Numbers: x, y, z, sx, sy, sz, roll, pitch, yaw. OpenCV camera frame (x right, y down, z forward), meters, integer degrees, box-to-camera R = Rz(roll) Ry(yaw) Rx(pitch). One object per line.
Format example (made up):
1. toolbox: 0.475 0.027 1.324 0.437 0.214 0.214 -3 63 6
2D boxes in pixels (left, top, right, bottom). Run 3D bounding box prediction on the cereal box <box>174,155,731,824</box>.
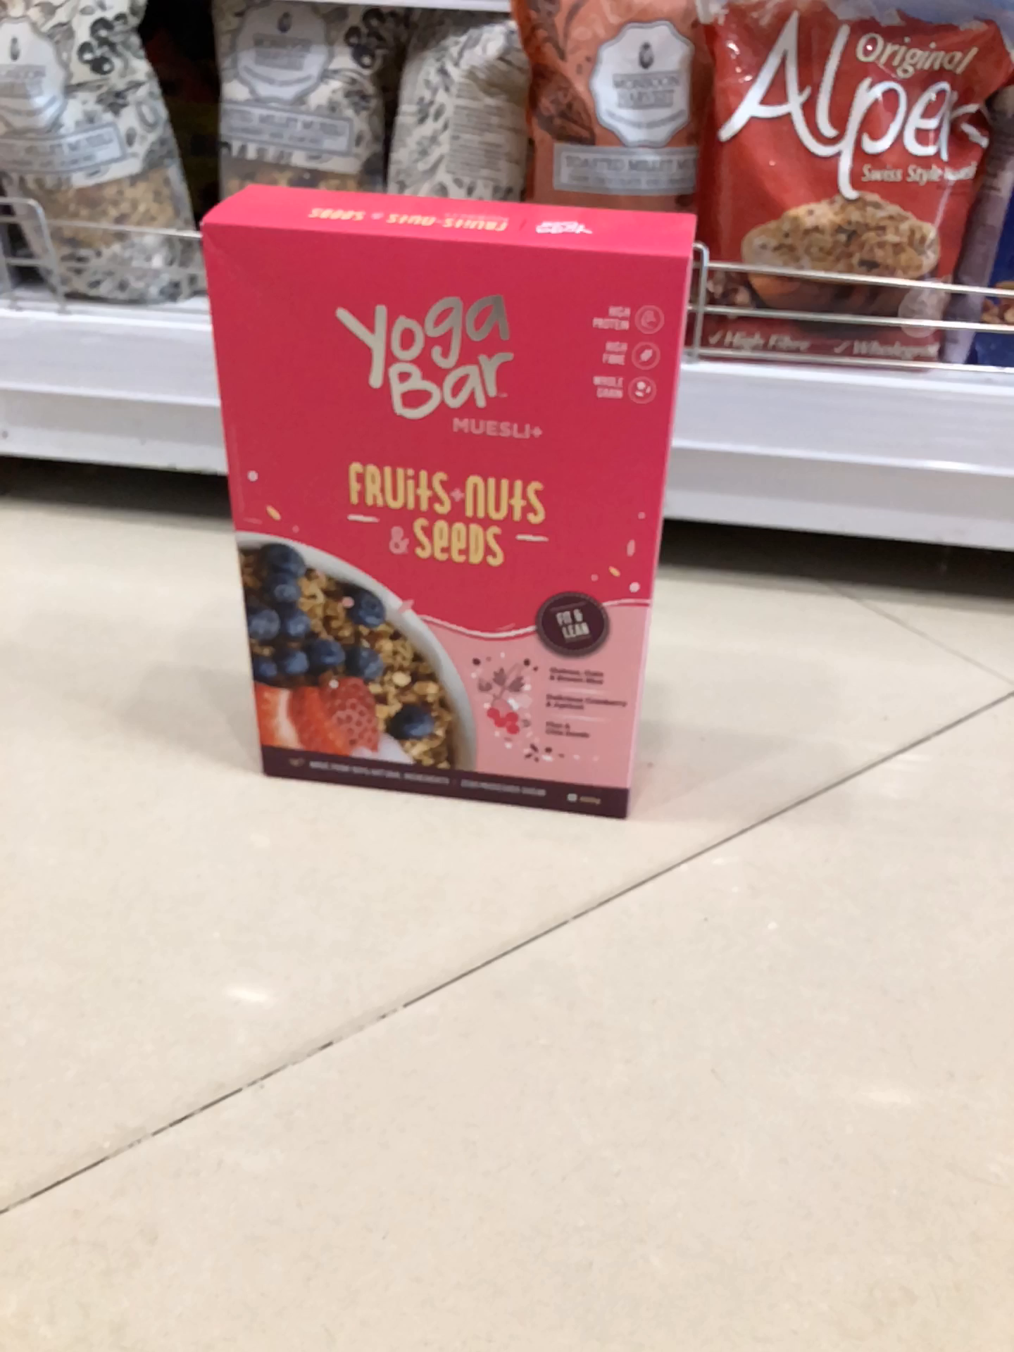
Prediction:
1. cereal box: -0.017 -0.063 0.425 0.170 0.228 0.060 6 32 7
